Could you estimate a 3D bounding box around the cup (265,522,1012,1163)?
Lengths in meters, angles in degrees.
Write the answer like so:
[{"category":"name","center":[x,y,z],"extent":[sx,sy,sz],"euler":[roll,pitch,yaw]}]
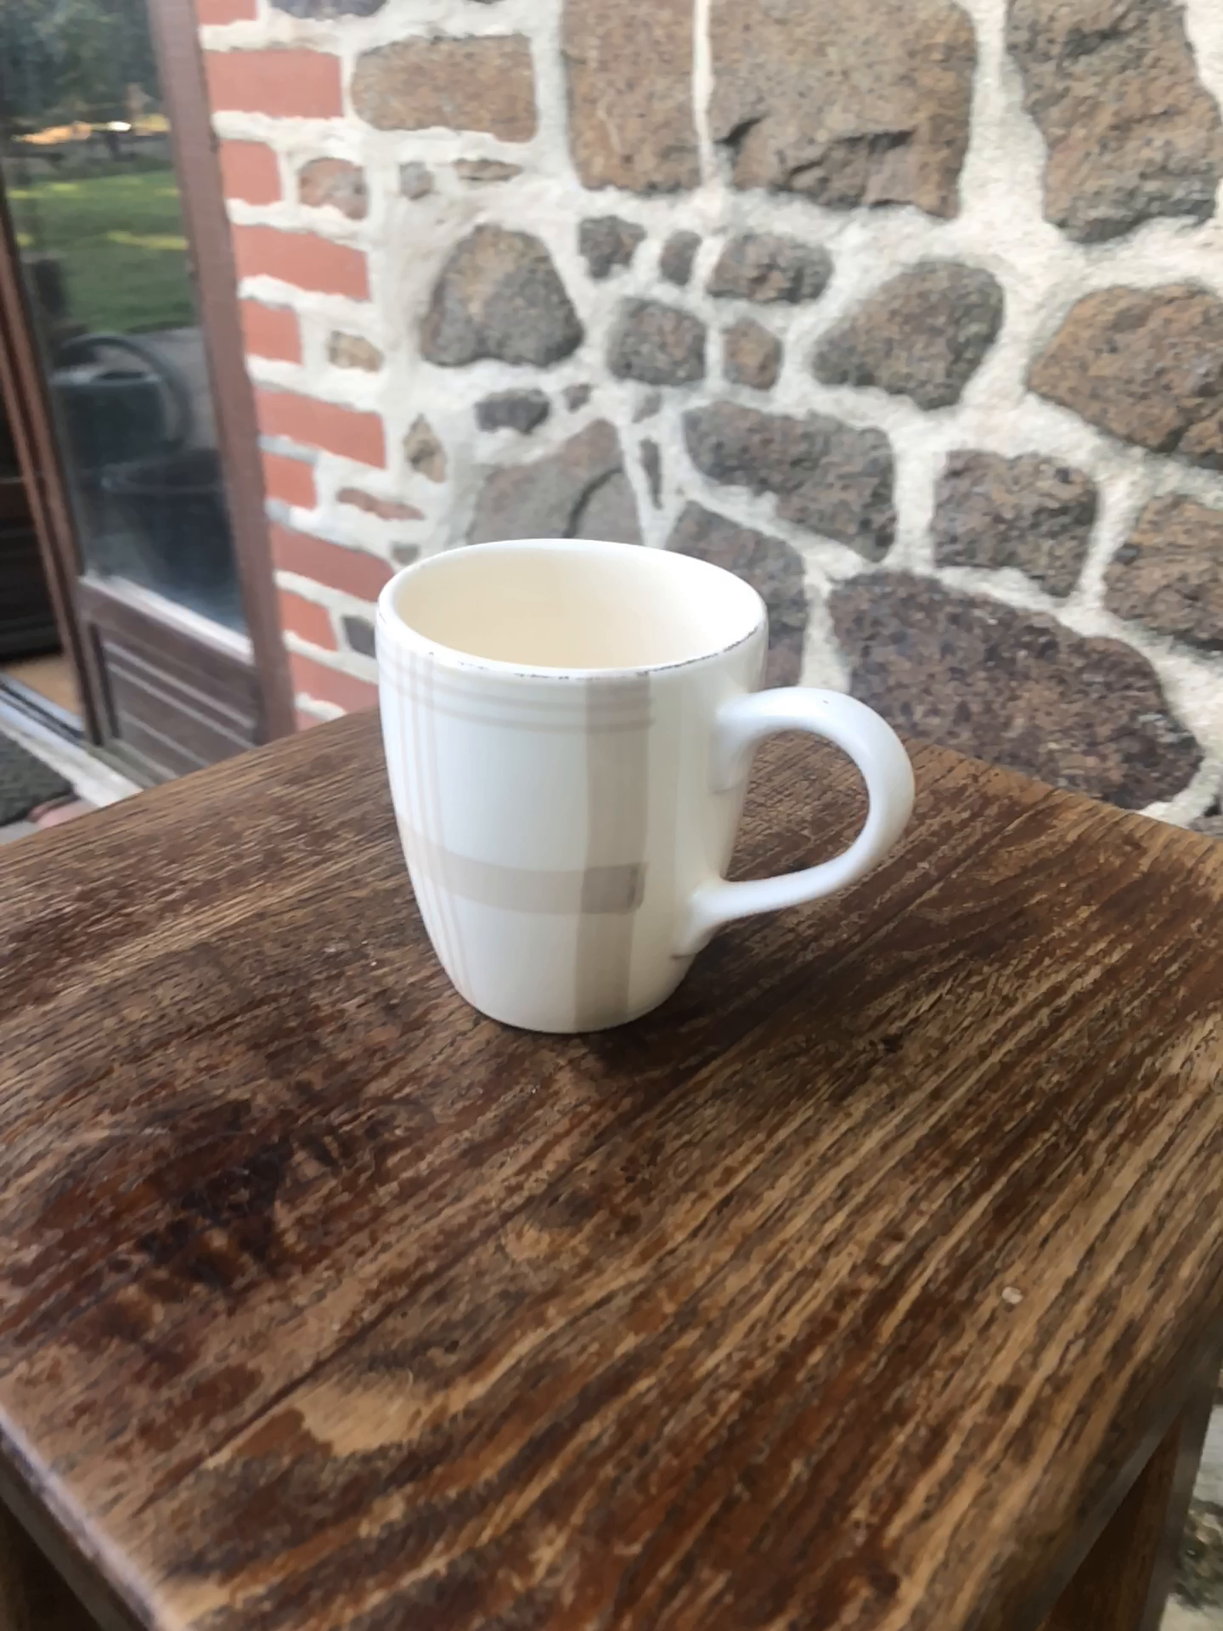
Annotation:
[{"category":"cup","center":[0.005,-0.005,0.292],"extent":[0.124,0.078,0.088],"euler":[20,33,32]}]
